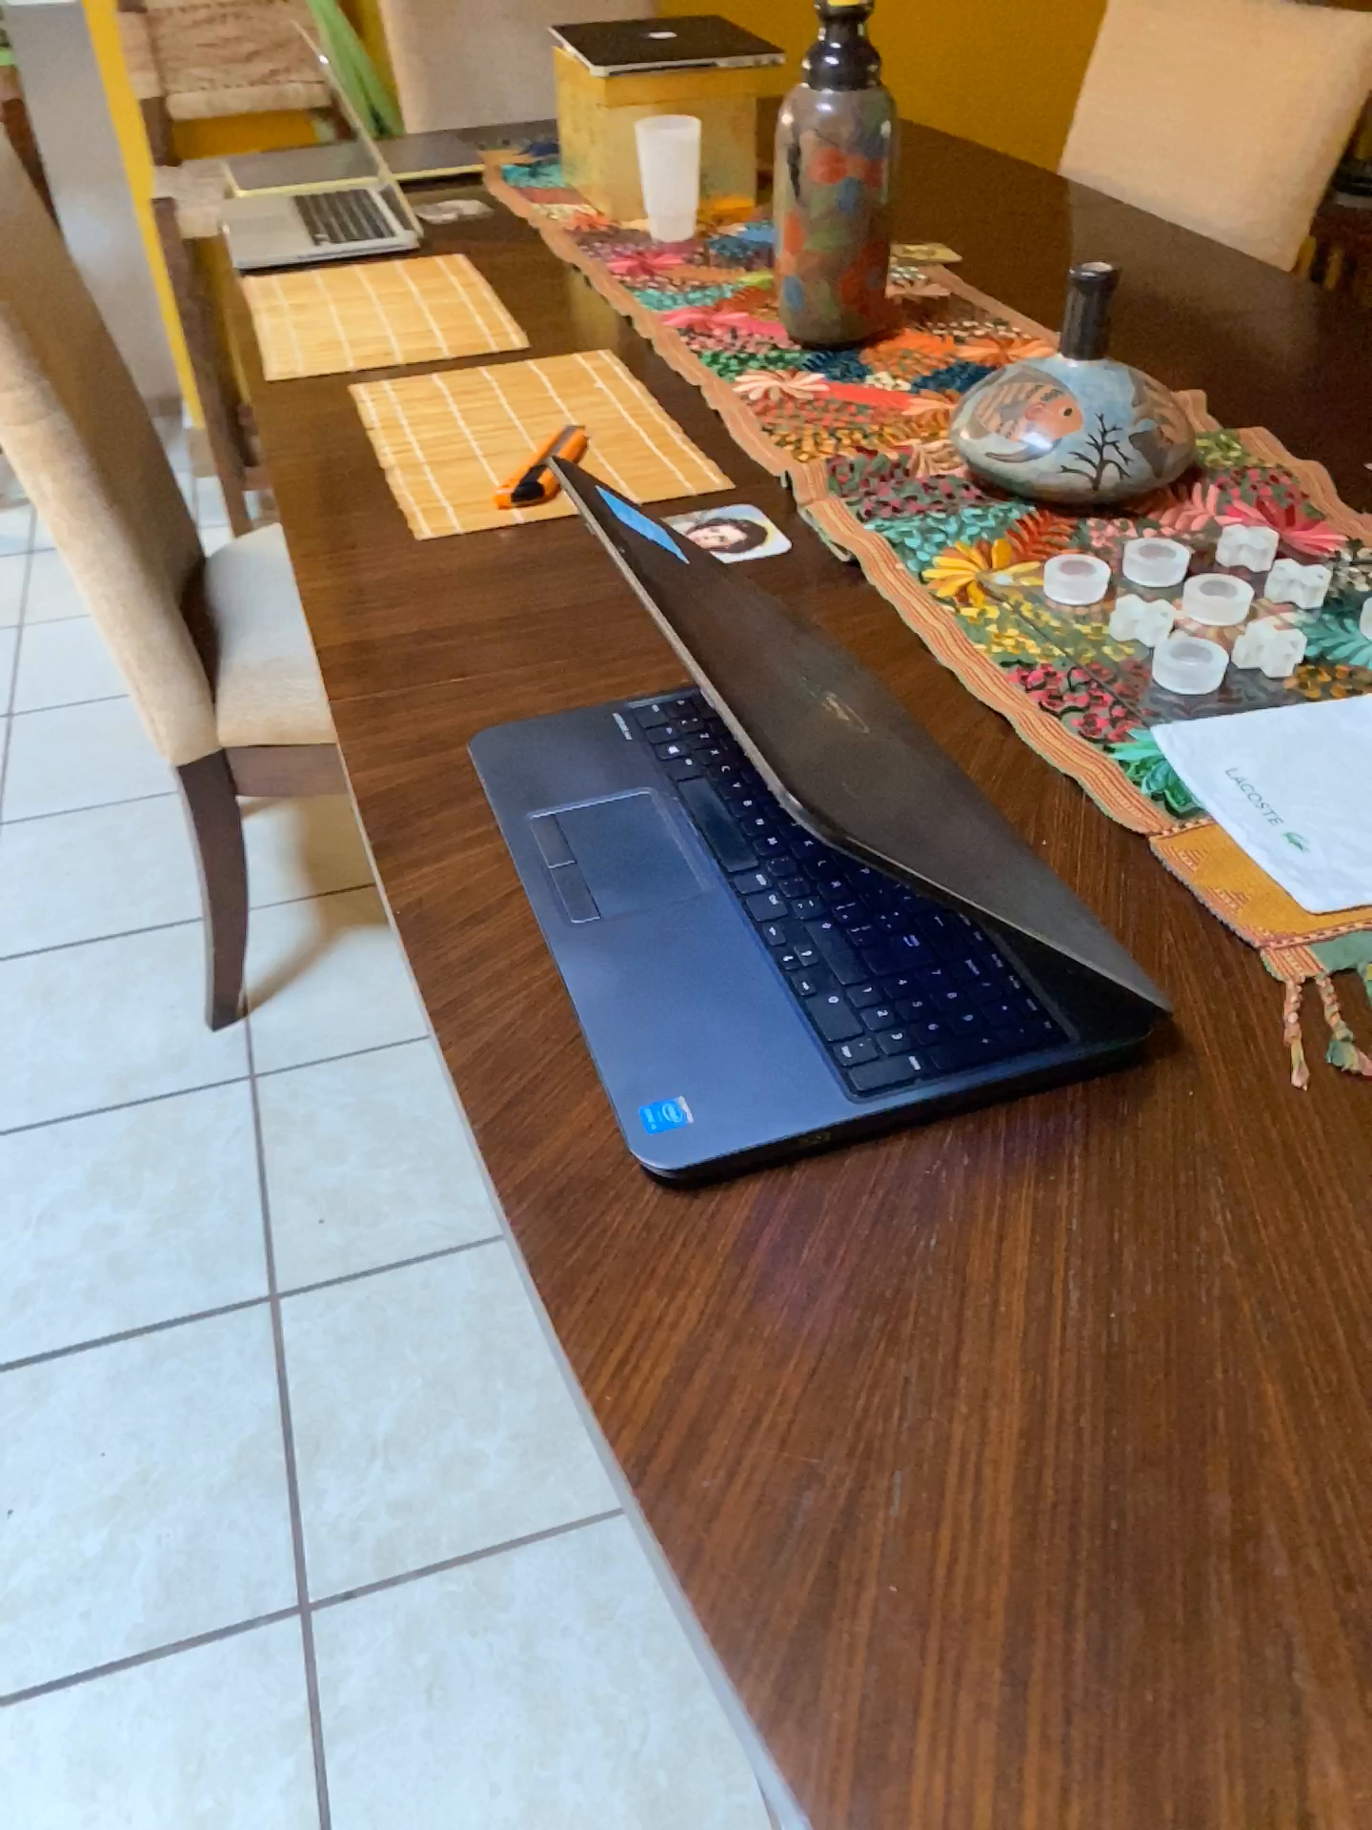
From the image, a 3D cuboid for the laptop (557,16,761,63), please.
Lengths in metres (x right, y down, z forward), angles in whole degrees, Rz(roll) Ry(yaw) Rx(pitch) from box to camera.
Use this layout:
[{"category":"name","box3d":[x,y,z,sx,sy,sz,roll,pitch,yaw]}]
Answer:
[{"category":"laptop","box3d":[-0.040,-1.123,1.795,0.201,0.001,0.293,-10,42,-13]}]

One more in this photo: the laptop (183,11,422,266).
[{"category":"laptop","box3d":[-0.497,-1.007,1.800,0.221,0.207,0.373,-15,41,-14]}]

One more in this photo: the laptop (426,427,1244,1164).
[{"category":"laptop","box3d":[0.040,-0.088,0.696,0.248,0.158,0.358,-13,41,-14]}]
